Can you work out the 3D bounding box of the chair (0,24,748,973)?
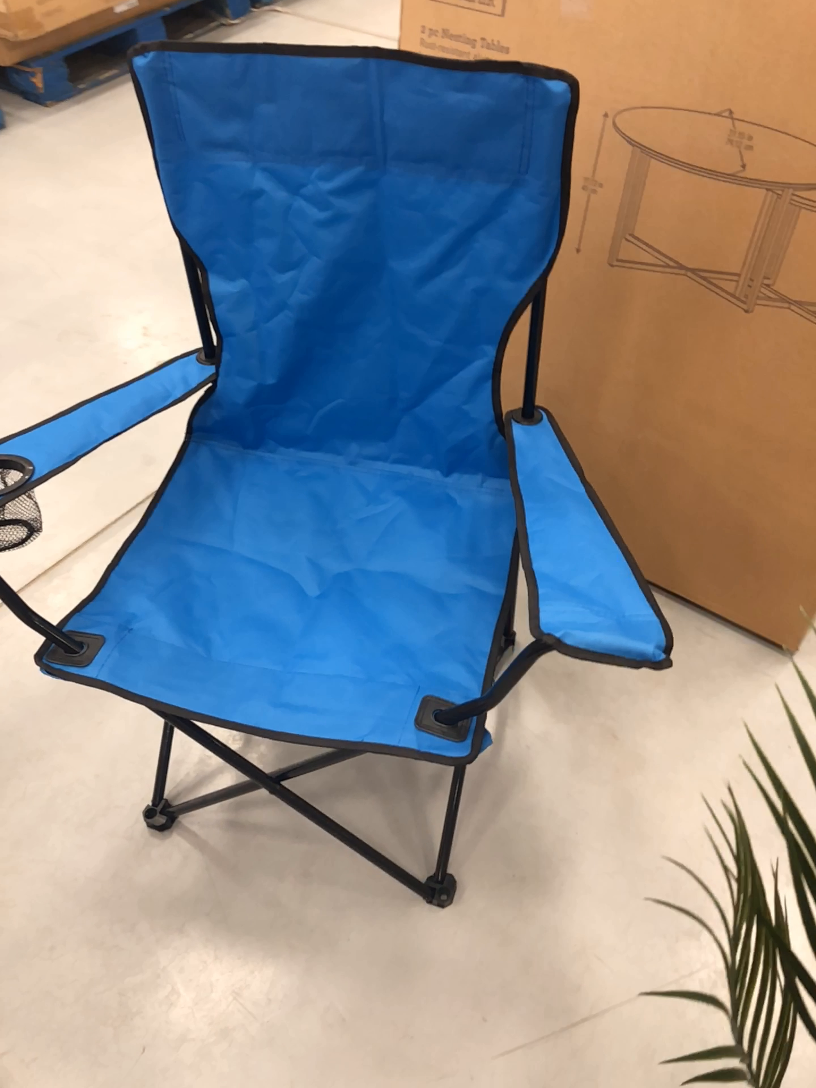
[{"bbox_3d":[-0.106,-0.039,1.085,0.790,0.837,0.622,10,49,11],"label":"chair"}]
